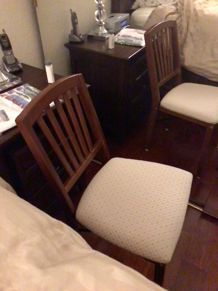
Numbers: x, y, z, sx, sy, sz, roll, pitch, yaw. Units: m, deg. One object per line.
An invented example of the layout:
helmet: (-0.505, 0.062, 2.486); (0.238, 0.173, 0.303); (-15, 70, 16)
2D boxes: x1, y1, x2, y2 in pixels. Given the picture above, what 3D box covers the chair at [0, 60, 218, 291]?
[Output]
chair: (0.000, 0.268, 1.115); (0.690, 1.032, 0.625); (14, 42, 17)
